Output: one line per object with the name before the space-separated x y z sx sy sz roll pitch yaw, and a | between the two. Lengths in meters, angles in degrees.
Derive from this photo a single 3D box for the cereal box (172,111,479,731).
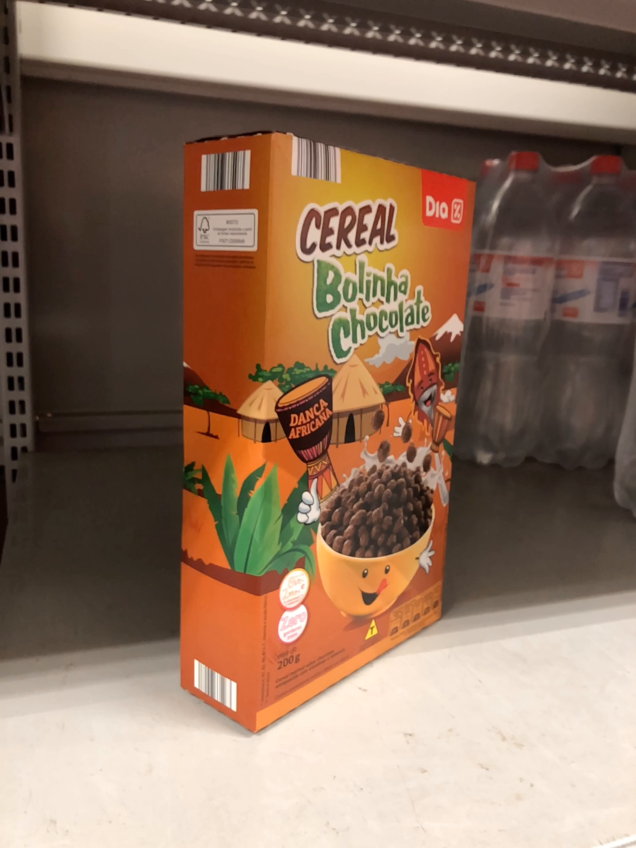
cereal box | 0.010 -0.006 0.376 0.060 0.259 0.170 9 12 39
